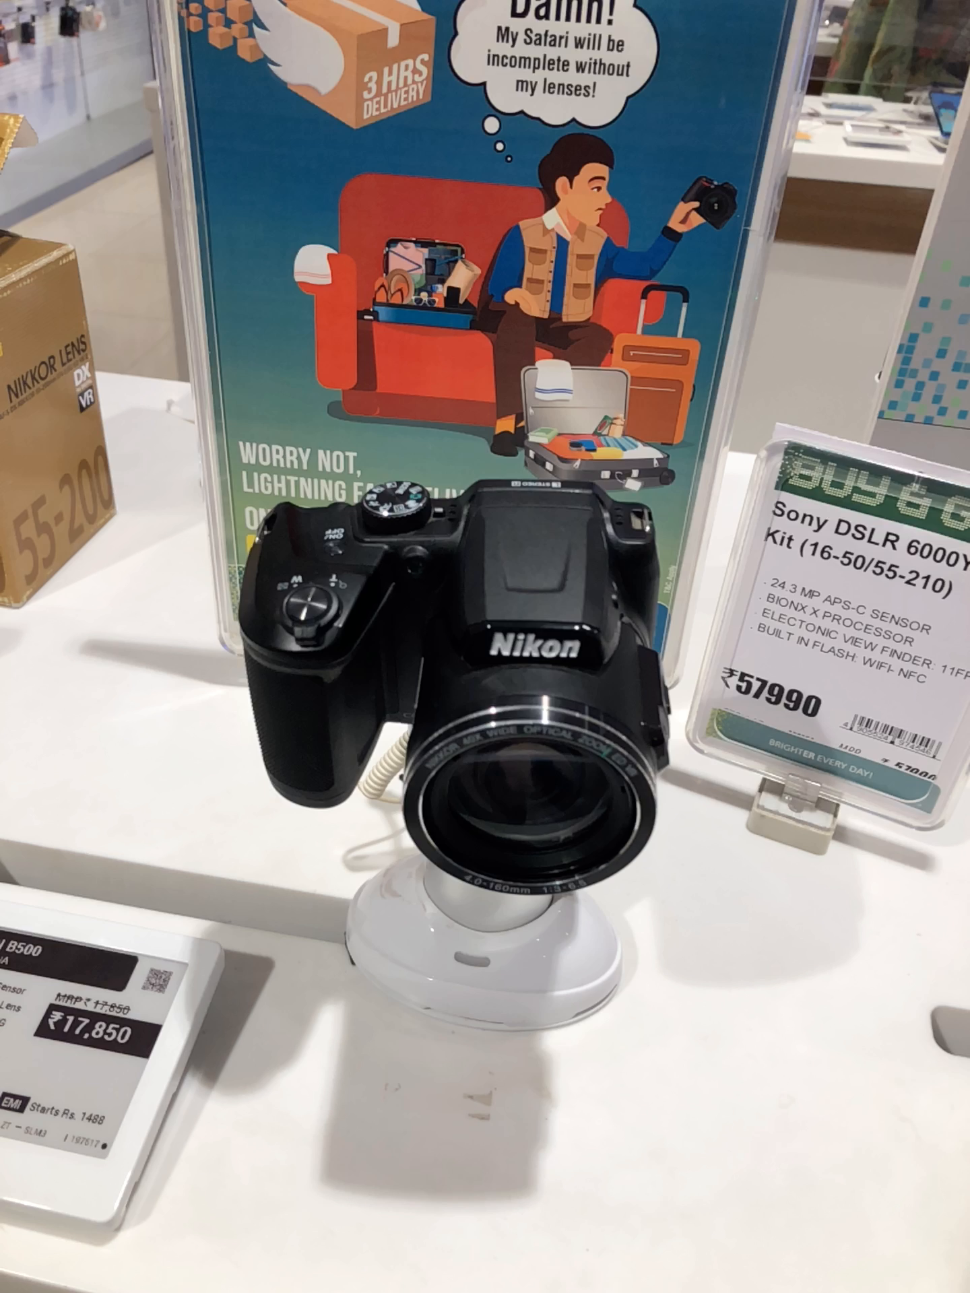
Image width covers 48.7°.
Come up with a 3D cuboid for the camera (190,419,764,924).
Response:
[{"bbox_3d":[-0.003,0.001,0.270,0.110,0.070,0.111,3,35,-2],"label":"camera"}]
